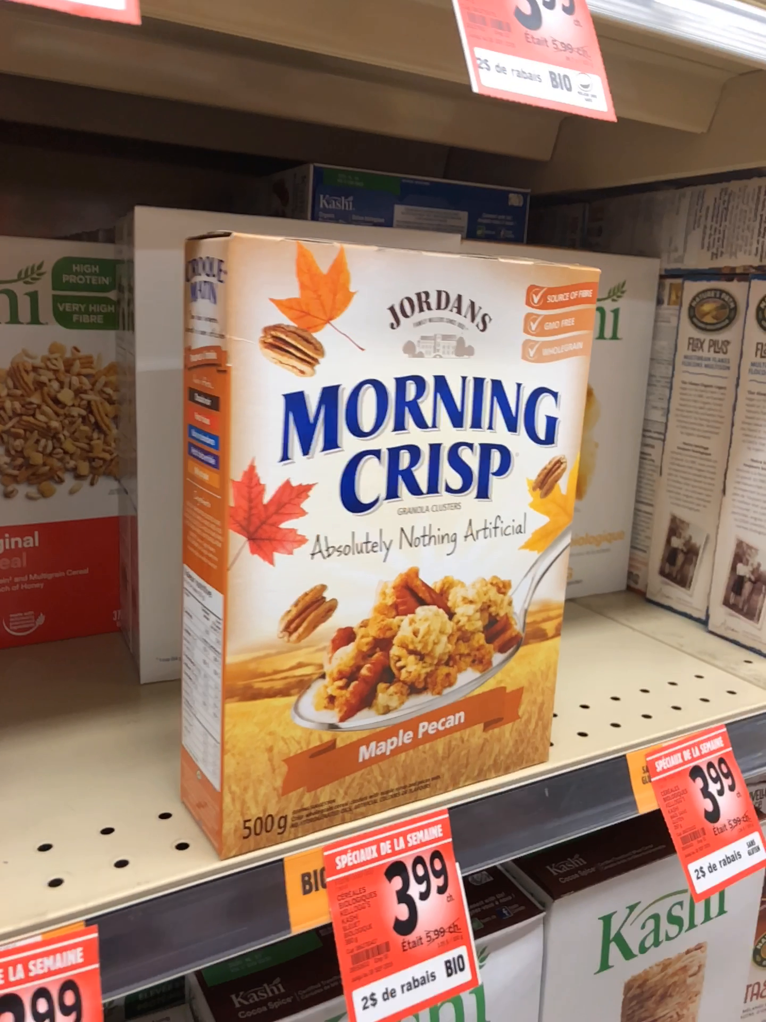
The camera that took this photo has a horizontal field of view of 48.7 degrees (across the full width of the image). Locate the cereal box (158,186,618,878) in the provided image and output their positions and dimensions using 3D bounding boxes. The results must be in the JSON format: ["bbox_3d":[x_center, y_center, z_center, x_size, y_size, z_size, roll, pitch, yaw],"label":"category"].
[{"bbox_3d":[0.003,0.007,0.378,0.190,0.259,0.050,-4,15,-32],"label":"cereal box"}]
